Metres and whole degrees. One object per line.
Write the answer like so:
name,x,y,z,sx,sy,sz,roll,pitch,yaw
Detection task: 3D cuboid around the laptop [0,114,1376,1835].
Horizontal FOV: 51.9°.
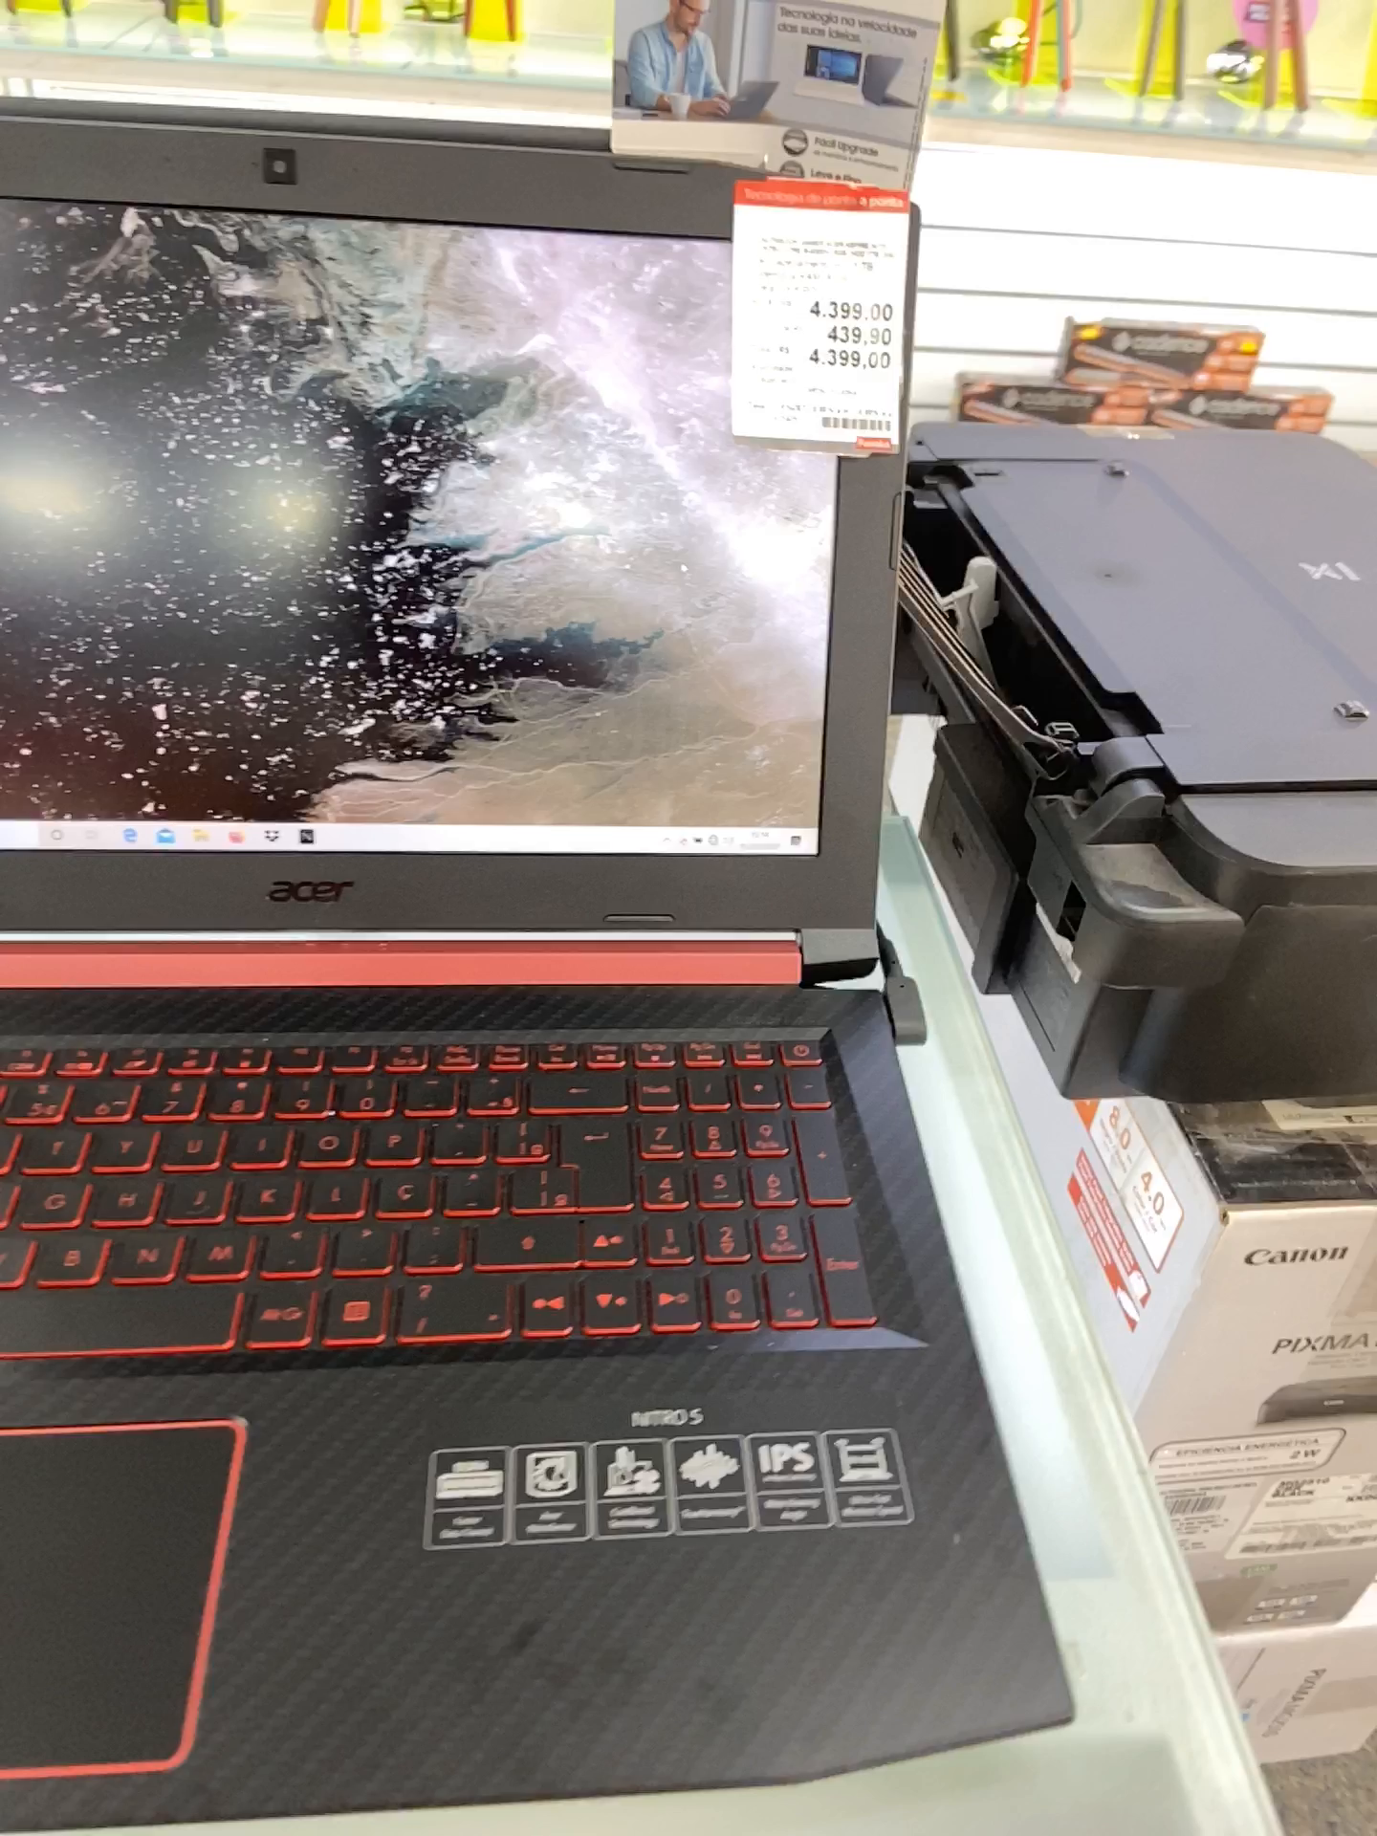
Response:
laptop,-0.116,-0.029,0.357,0.387,0.218,0.362,0,40,-6
